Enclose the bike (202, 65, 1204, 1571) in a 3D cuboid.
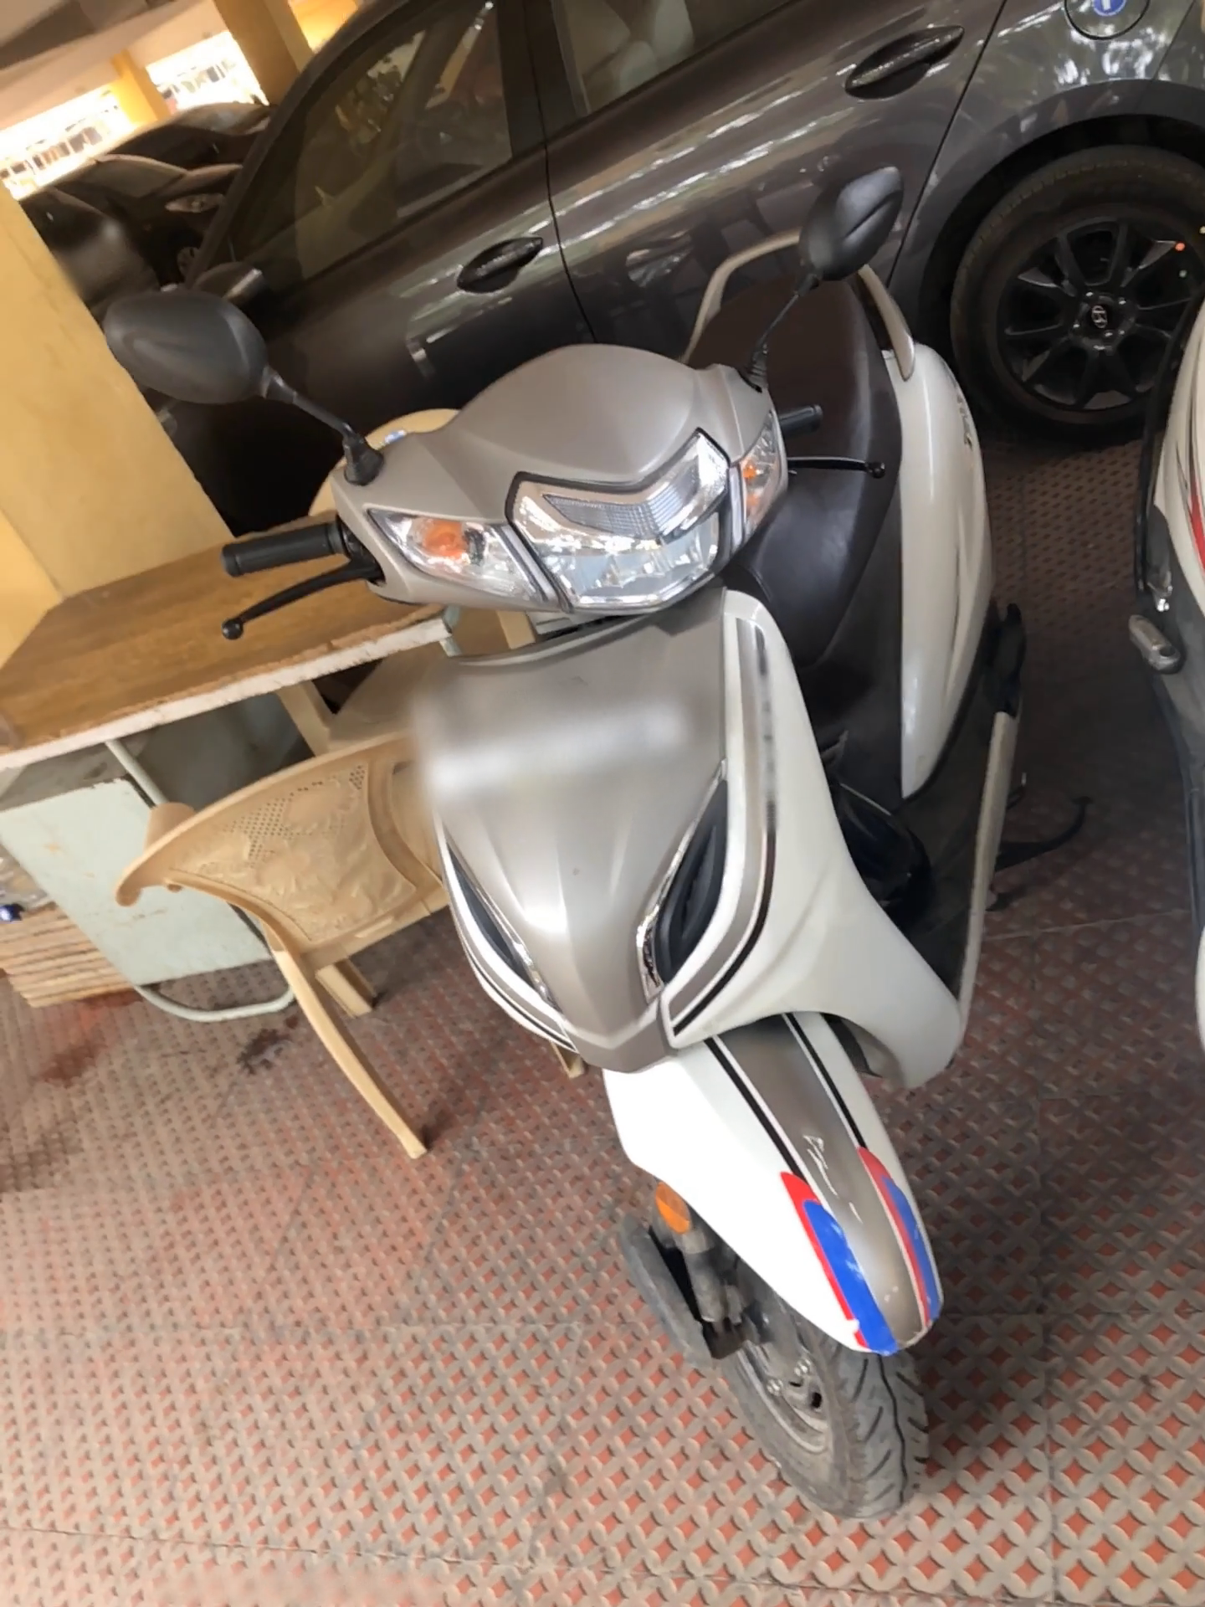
[{"bbox_3d":[0.216,-0.080,1.640,0.627,0.850,1.462,-14,40,23],"label":"bike"}]
